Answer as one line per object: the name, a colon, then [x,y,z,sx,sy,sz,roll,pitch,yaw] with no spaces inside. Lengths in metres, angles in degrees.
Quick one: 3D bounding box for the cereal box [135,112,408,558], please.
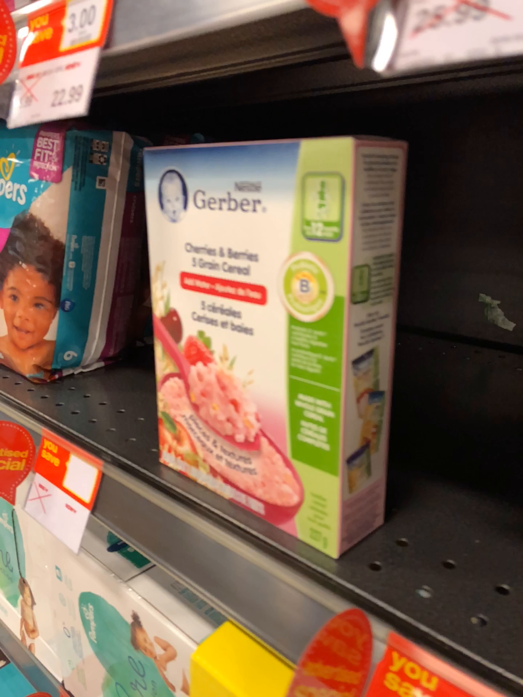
cereal box: [-0.004,-0.014,0.313,0.150,0.199,0.040,15,21,42]
